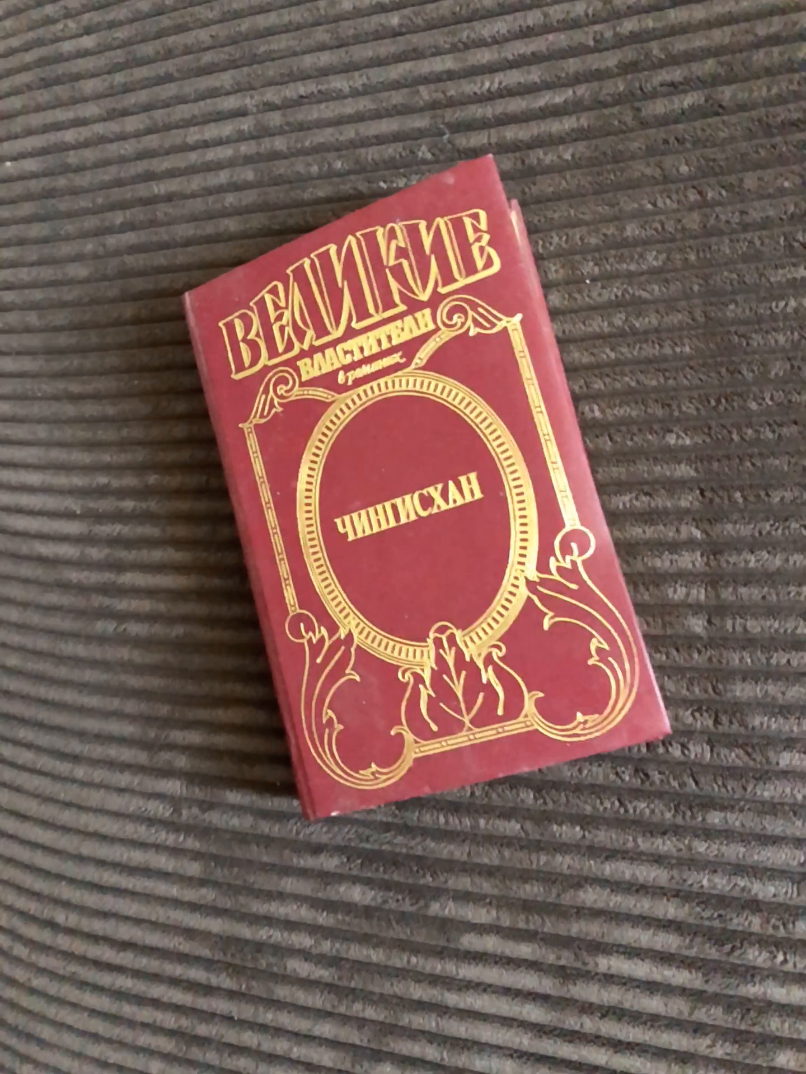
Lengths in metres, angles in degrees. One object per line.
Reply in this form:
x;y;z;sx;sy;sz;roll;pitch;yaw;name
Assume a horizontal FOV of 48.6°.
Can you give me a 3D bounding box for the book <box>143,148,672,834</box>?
-0.002;-0.012;0.328;0.137;0.050;0.202;-18;81;18;book
